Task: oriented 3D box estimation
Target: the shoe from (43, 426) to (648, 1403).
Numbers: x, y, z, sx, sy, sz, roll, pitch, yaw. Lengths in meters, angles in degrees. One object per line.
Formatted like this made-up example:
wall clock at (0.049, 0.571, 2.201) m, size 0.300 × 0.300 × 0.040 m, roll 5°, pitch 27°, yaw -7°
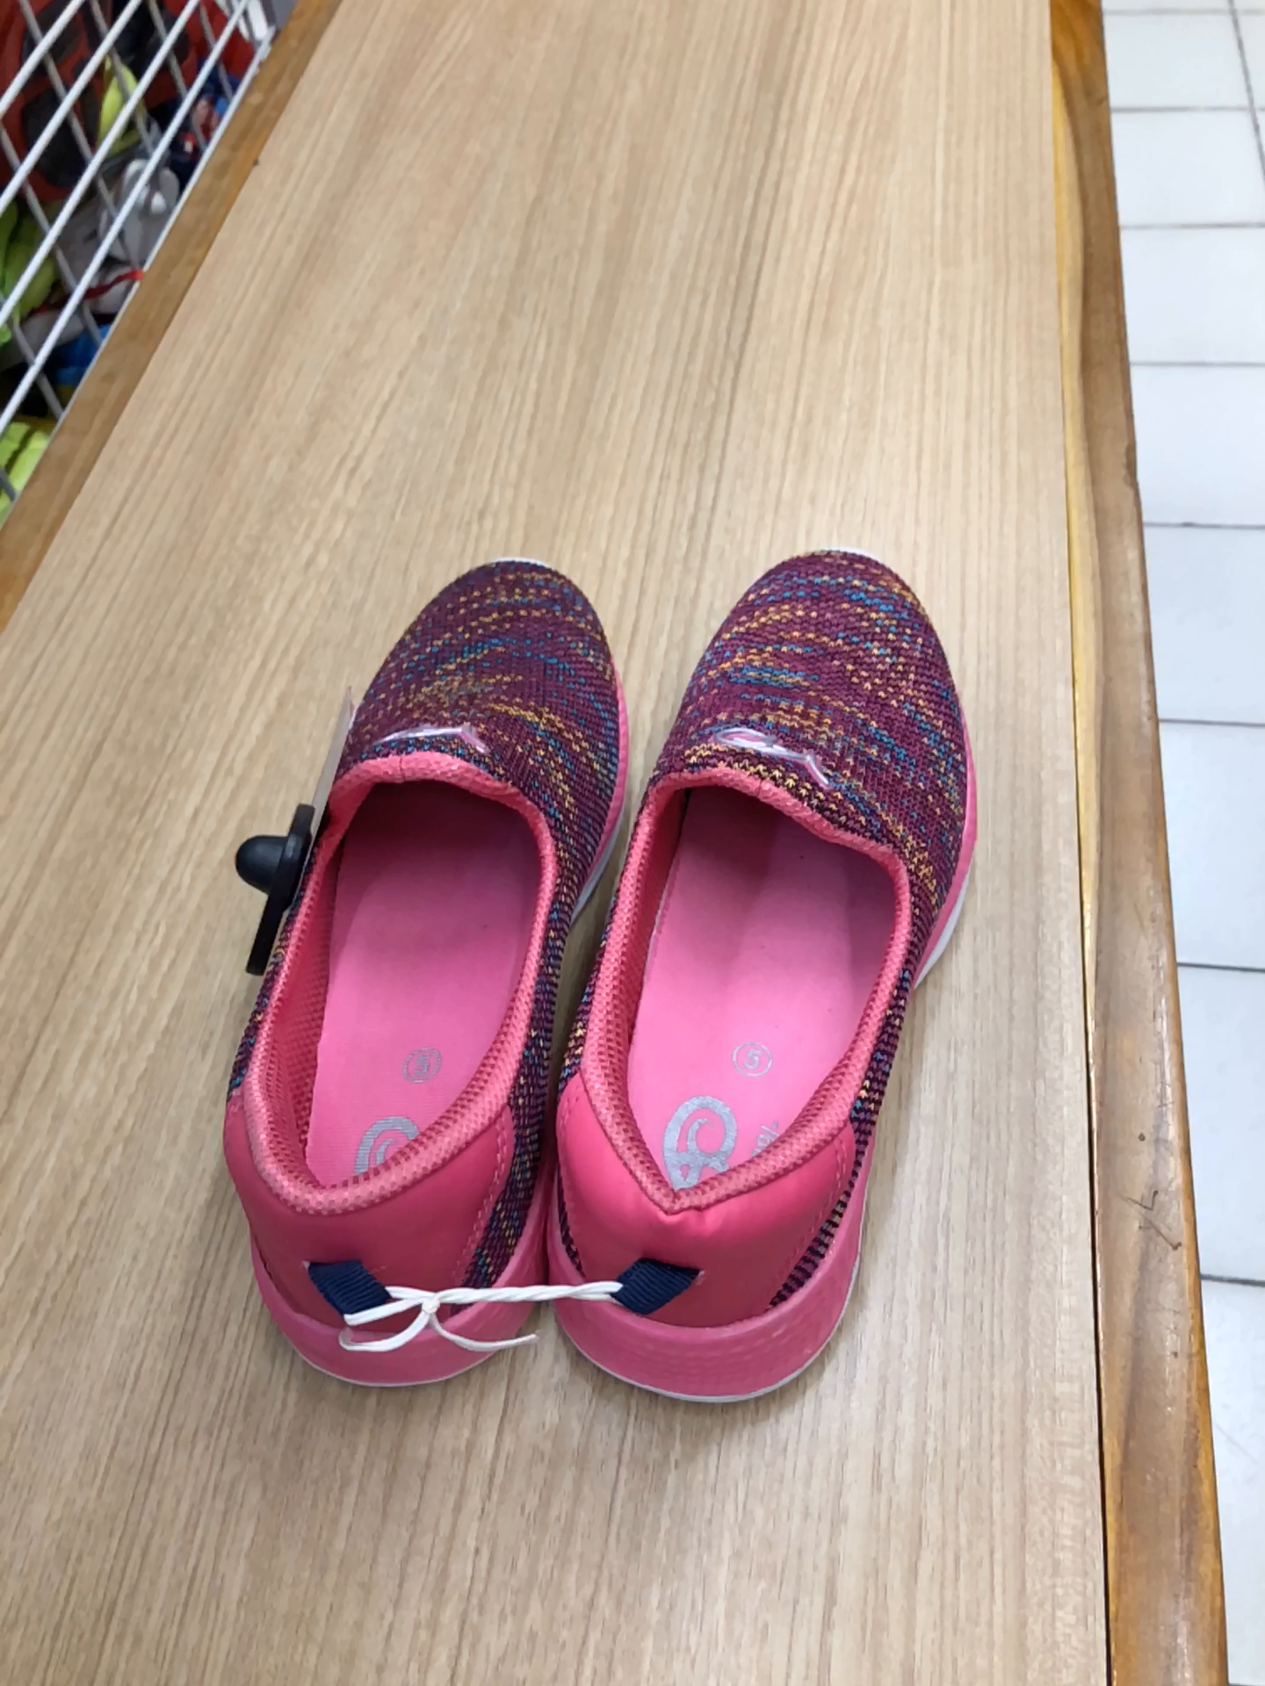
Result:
shoe at (-0.057, 0.008, 0.388) m, size 0.090 × 0.100 × 0.251 m, roll 1°, pitch 56°, yaw 8°

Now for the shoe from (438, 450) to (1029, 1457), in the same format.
shoe at (0.043, 0.018, 0.402) m, size 0.100 × 0.100 × 0.261 m, roll 9°, pitch 57°, yaw 13°
